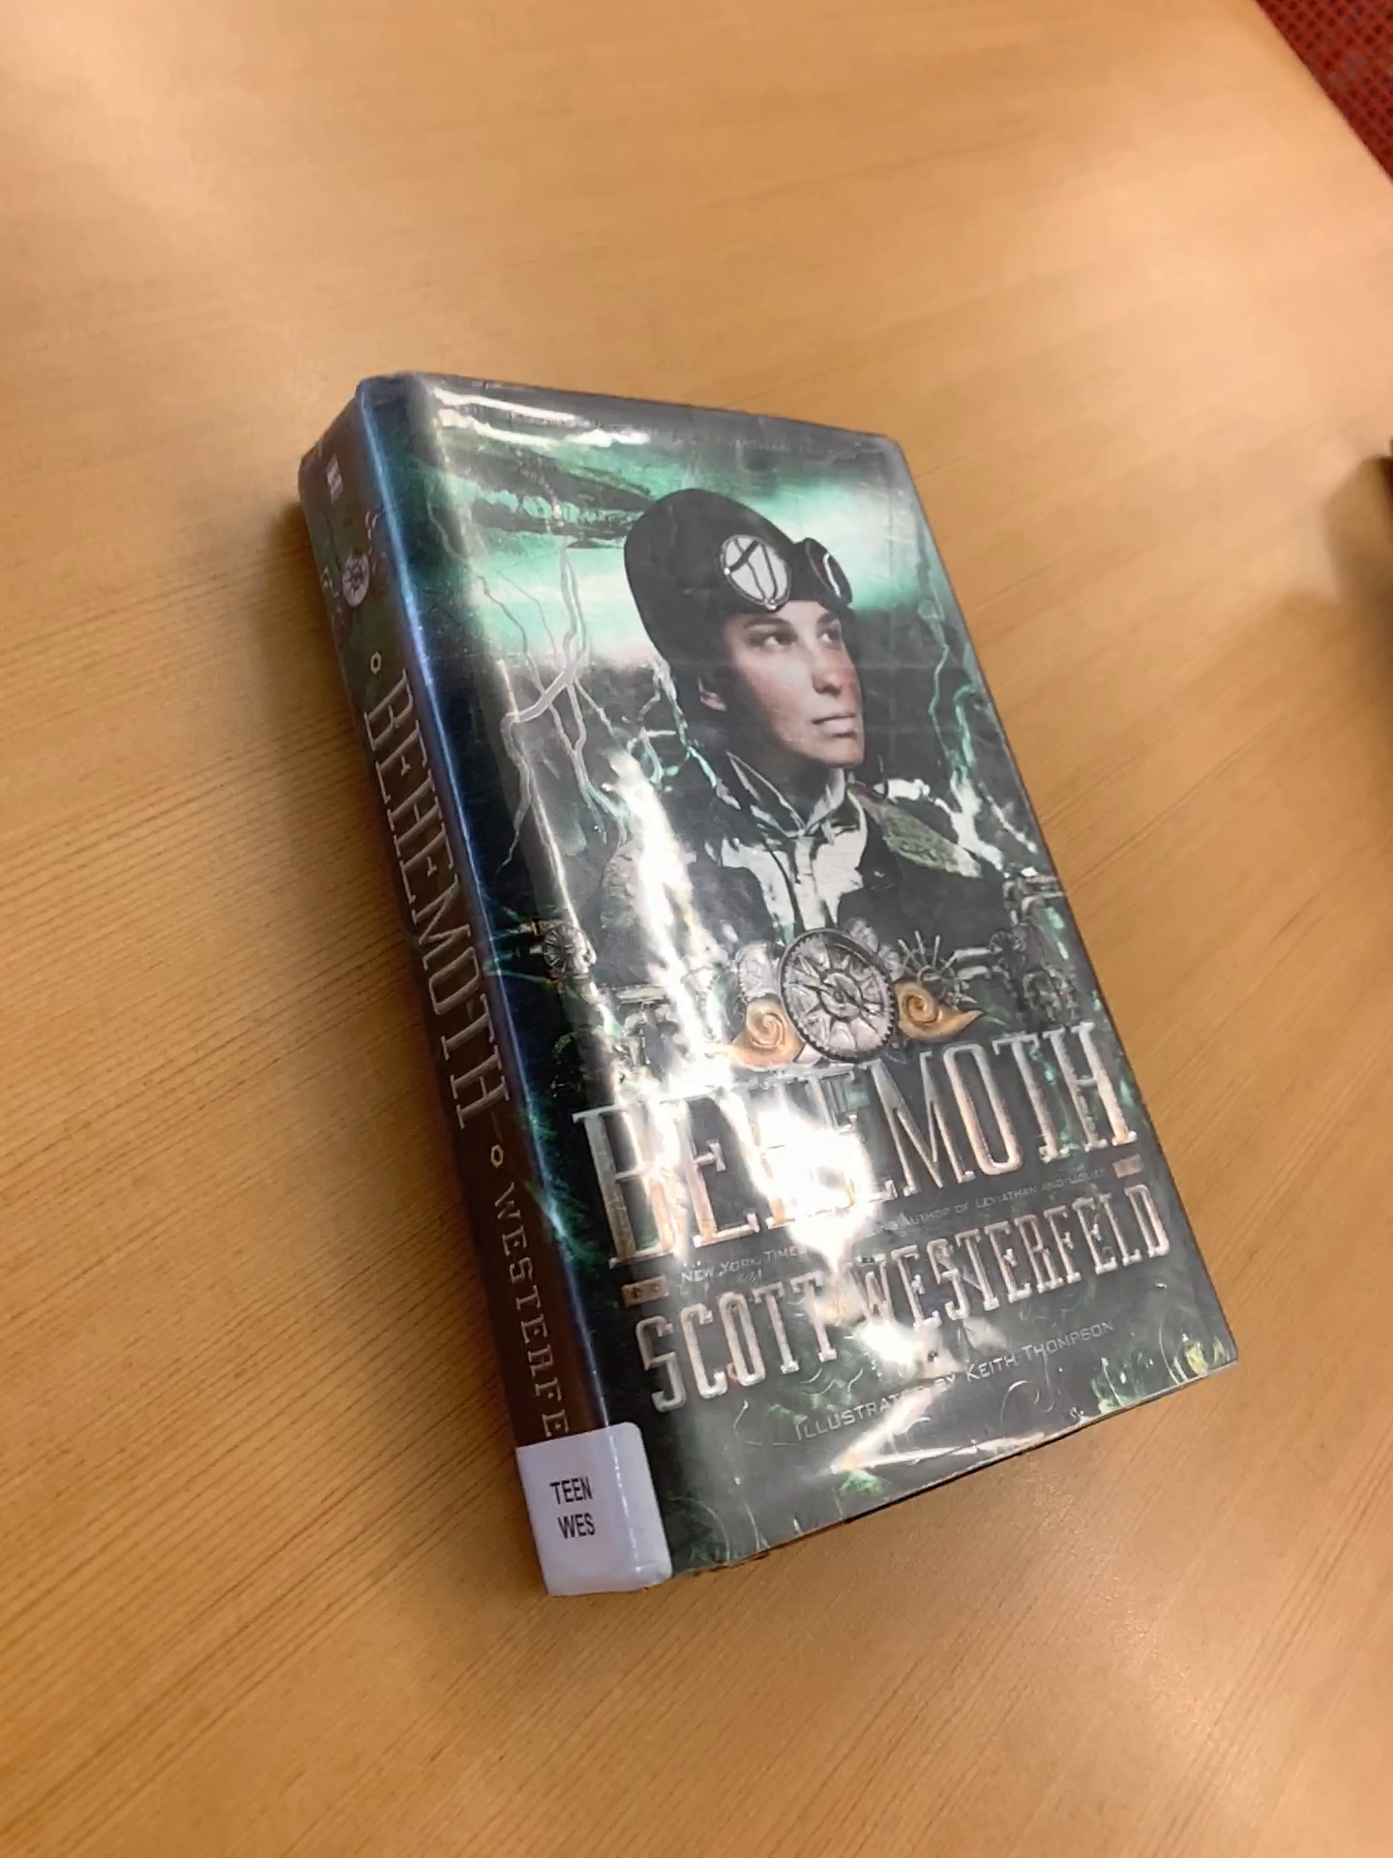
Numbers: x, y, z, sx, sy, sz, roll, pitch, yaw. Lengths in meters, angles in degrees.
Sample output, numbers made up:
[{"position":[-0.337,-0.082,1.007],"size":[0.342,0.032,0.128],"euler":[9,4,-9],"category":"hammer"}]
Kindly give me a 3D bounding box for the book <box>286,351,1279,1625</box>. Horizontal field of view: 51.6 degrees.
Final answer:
[{"position":[0.014,-0.002,0.315],"size":[0.150,0.050,0.241],"euler":[-6,71,-33],"category":"book"}]
